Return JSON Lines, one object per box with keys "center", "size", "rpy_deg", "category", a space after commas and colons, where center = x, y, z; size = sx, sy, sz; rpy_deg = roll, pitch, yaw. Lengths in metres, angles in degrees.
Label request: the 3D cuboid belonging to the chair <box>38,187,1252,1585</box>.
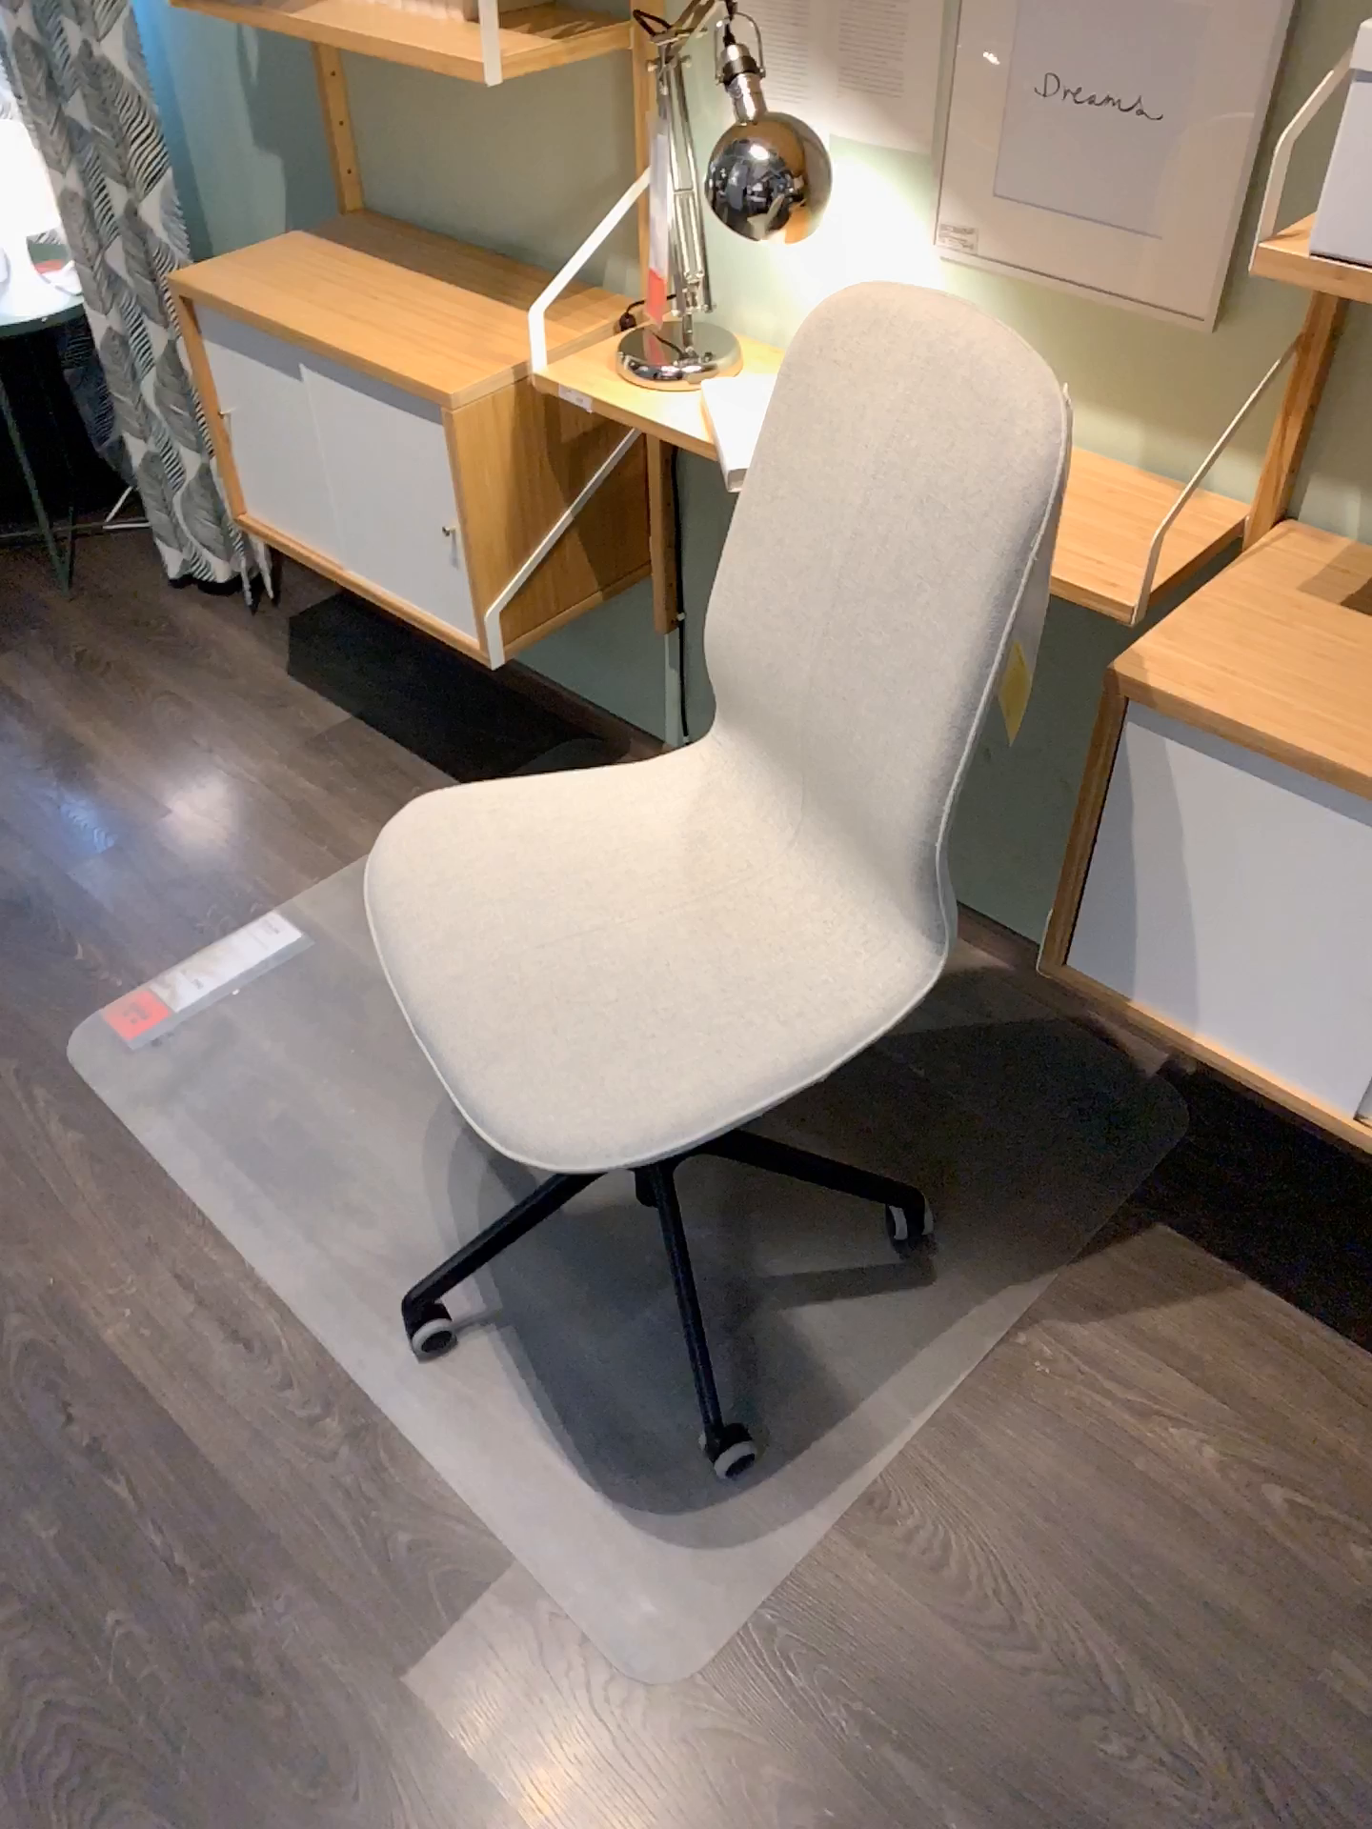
{"center": [-0.067, -0.012, 1.276], "size": [0.620, 0.966, 0.622], "rpy_deg": [-19, 46, -18], "category": "chair"}
